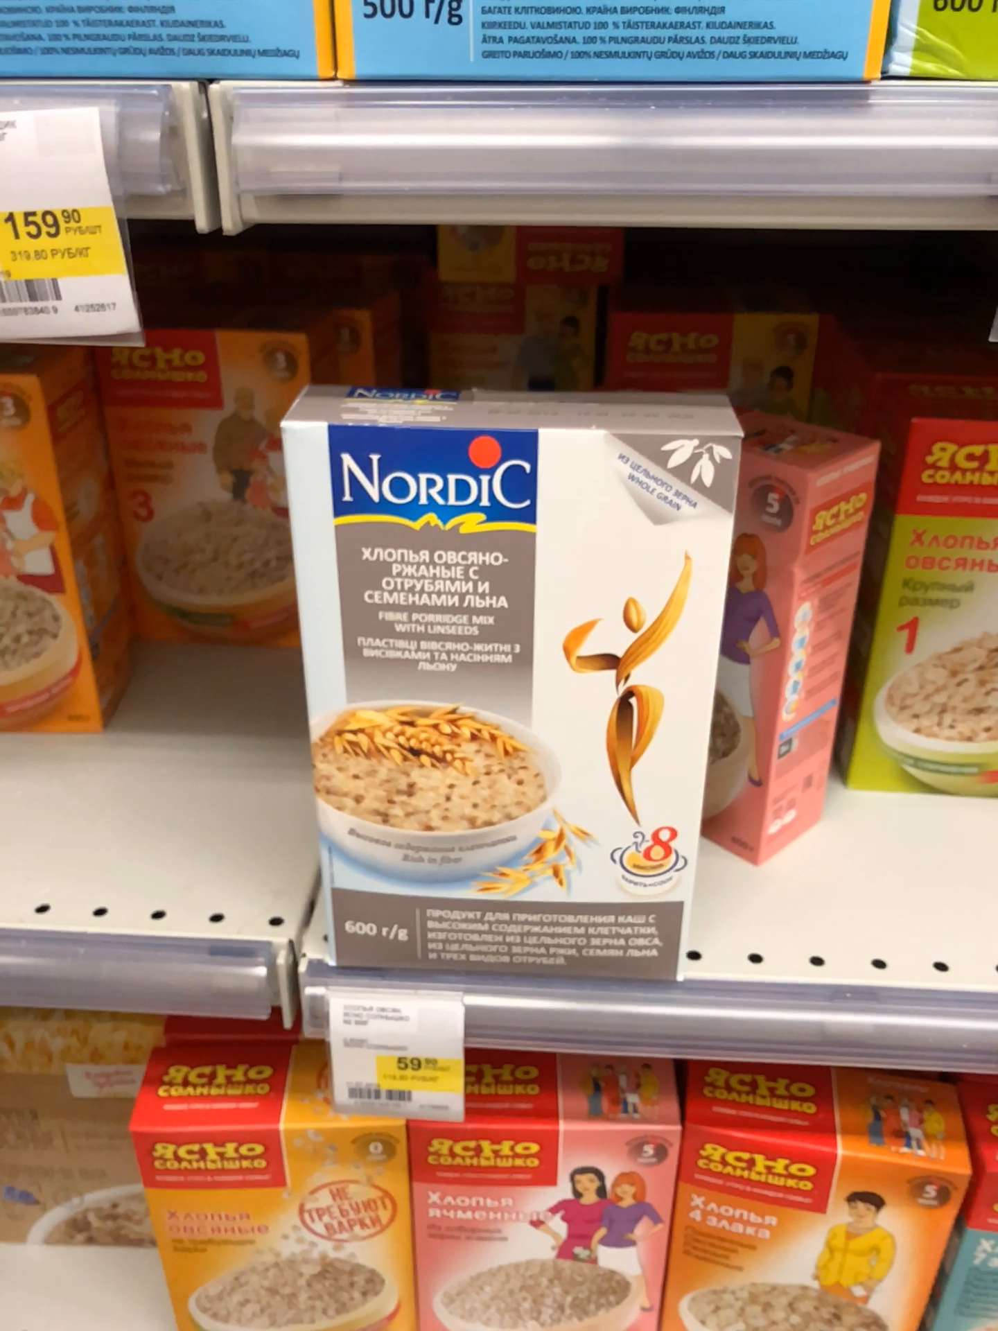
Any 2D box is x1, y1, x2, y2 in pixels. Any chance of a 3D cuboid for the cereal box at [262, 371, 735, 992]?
[{"bbox_3d":[0.001,0.014,0.405,0.140,0.229,0.050,1,29,2],"label":"cereal box"}]
